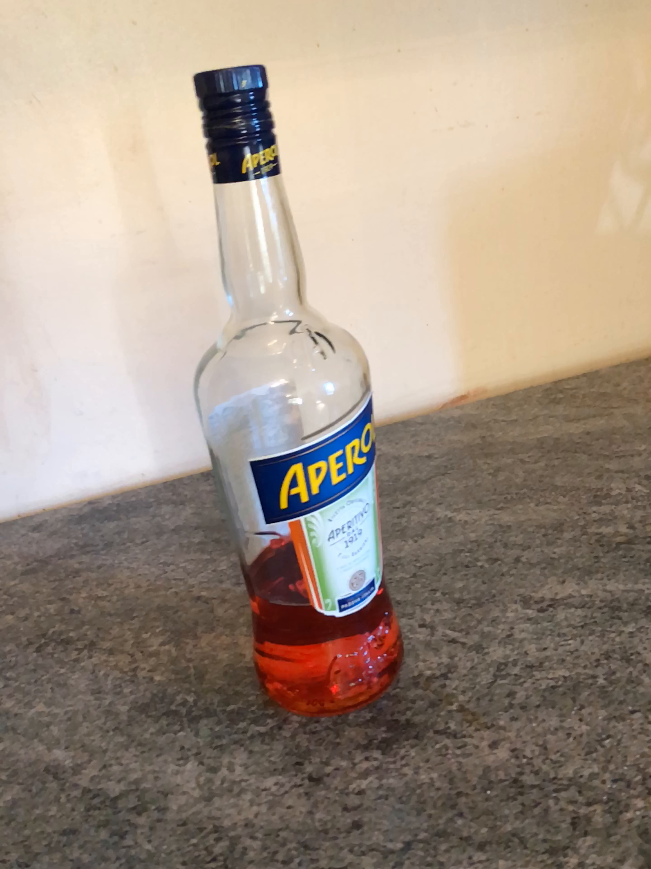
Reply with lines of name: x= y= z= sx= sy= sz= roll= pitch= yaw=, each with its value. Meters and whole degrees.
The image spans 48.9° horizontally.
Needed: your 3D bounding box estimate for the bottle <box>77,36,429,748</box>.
bottle: x=-0.024 y=-0.010 z=0.371 sx=0.090 sy=0.328 sz=0.090 roll=-7 pitch=24 yaw=3
